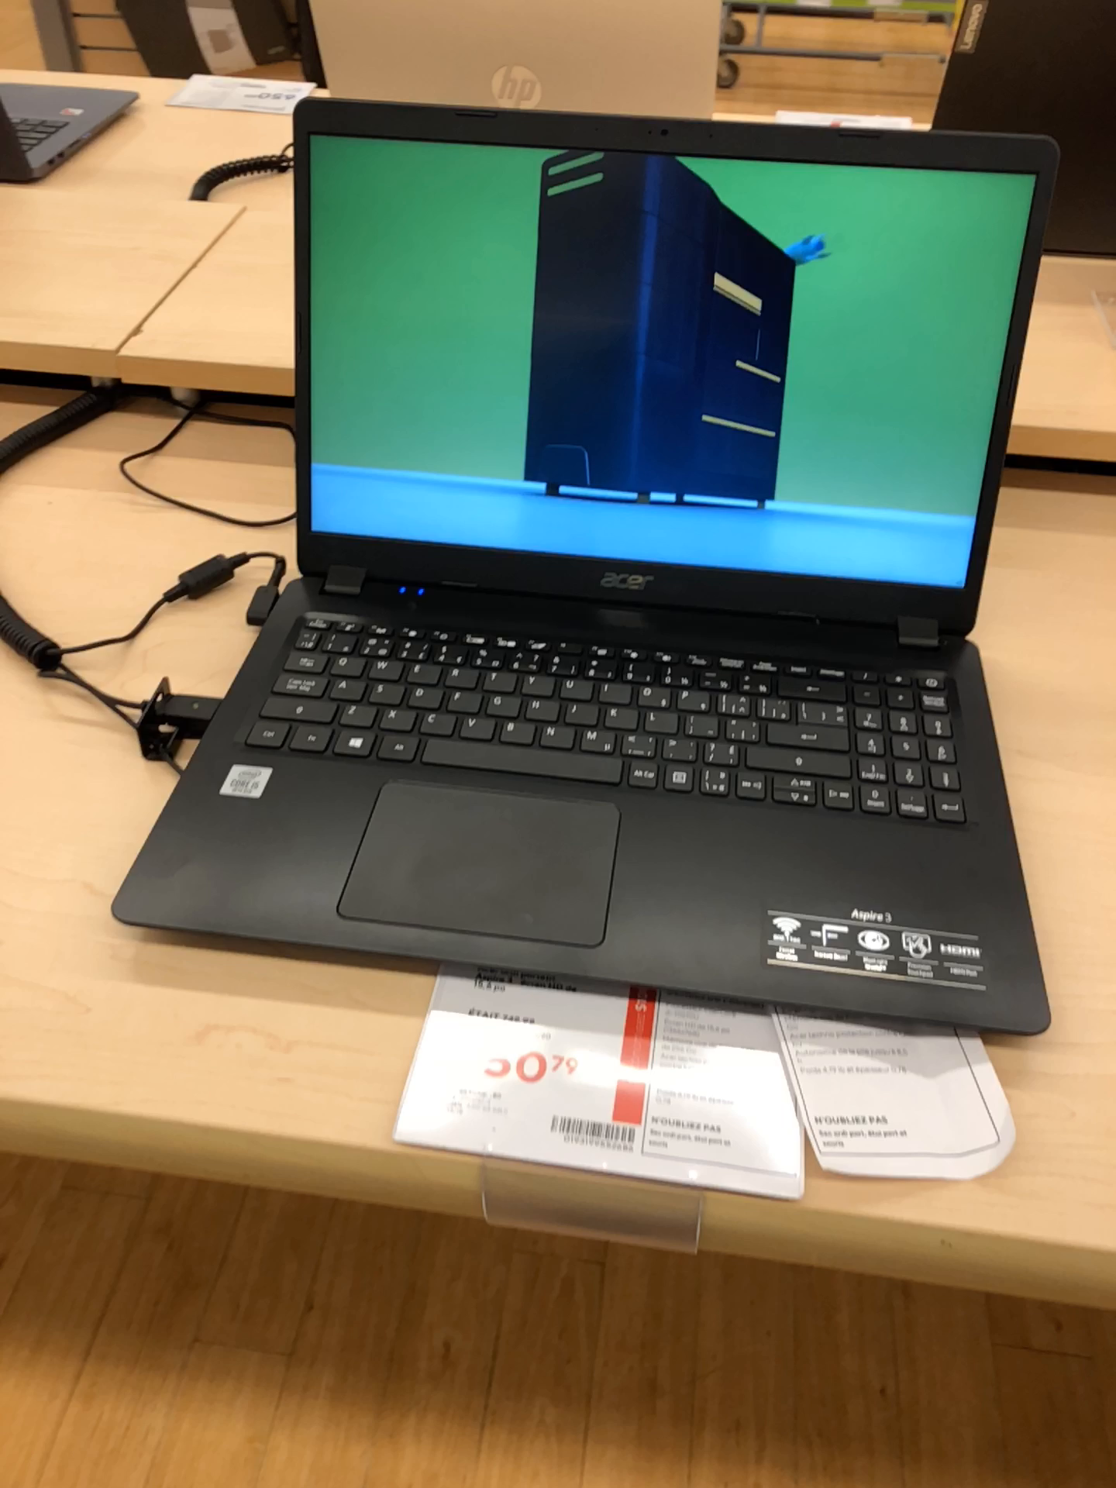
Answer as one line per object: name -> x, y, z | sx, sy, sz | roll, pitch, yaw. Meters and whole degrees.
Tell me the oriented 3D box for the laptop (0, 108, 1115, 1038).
laptop -> 0.026, -0.099, 0.521 | 0.354, 0.210, 0.329 | 7, 42, 6
